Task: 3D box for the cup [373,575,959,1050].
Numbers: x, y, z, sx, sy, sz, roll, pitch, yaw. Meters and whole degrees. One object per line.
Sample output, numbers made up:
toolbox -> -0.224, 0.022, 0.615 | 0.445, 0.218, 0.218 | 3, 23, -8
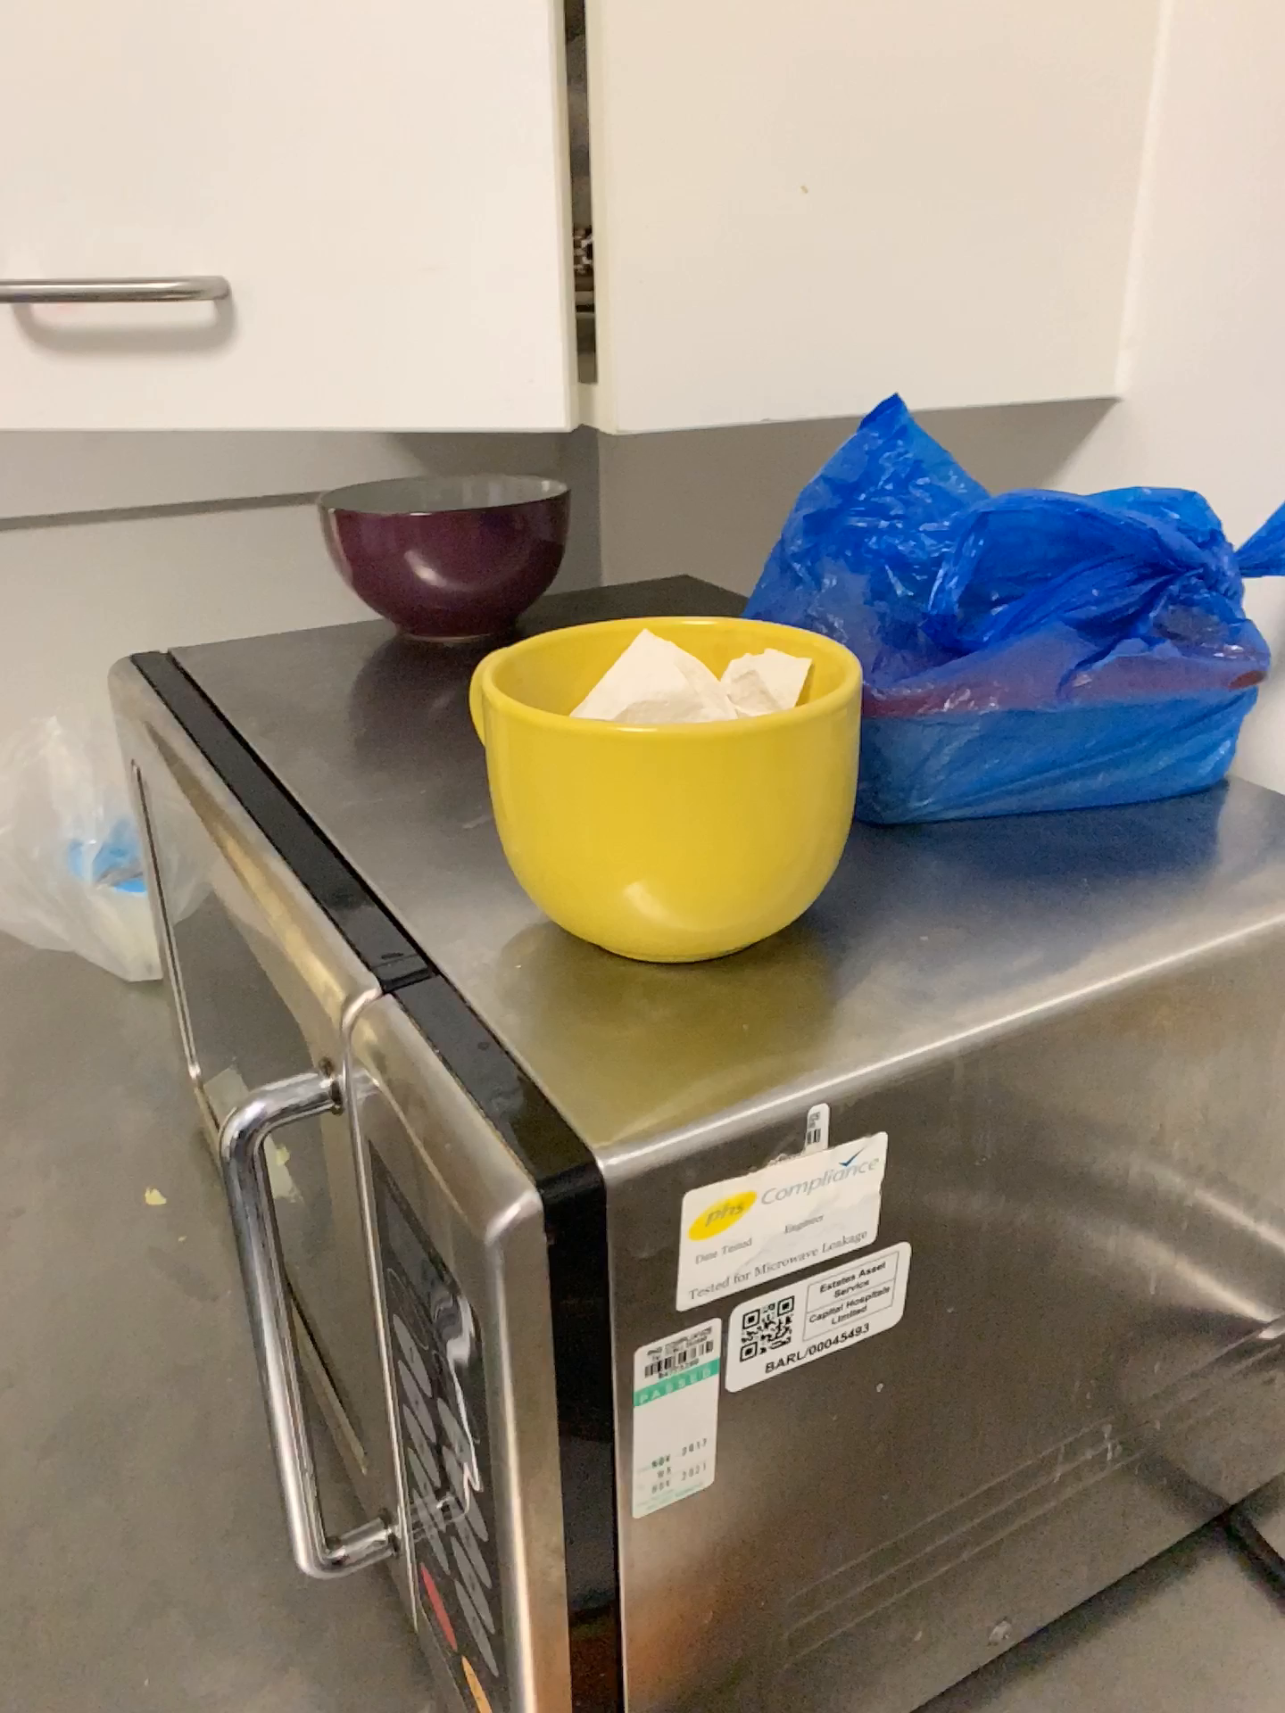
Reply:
cup -> 0.000, -0.027, 0.417 | 0.116, 0.082, 0.155 | -14, 27, -27
